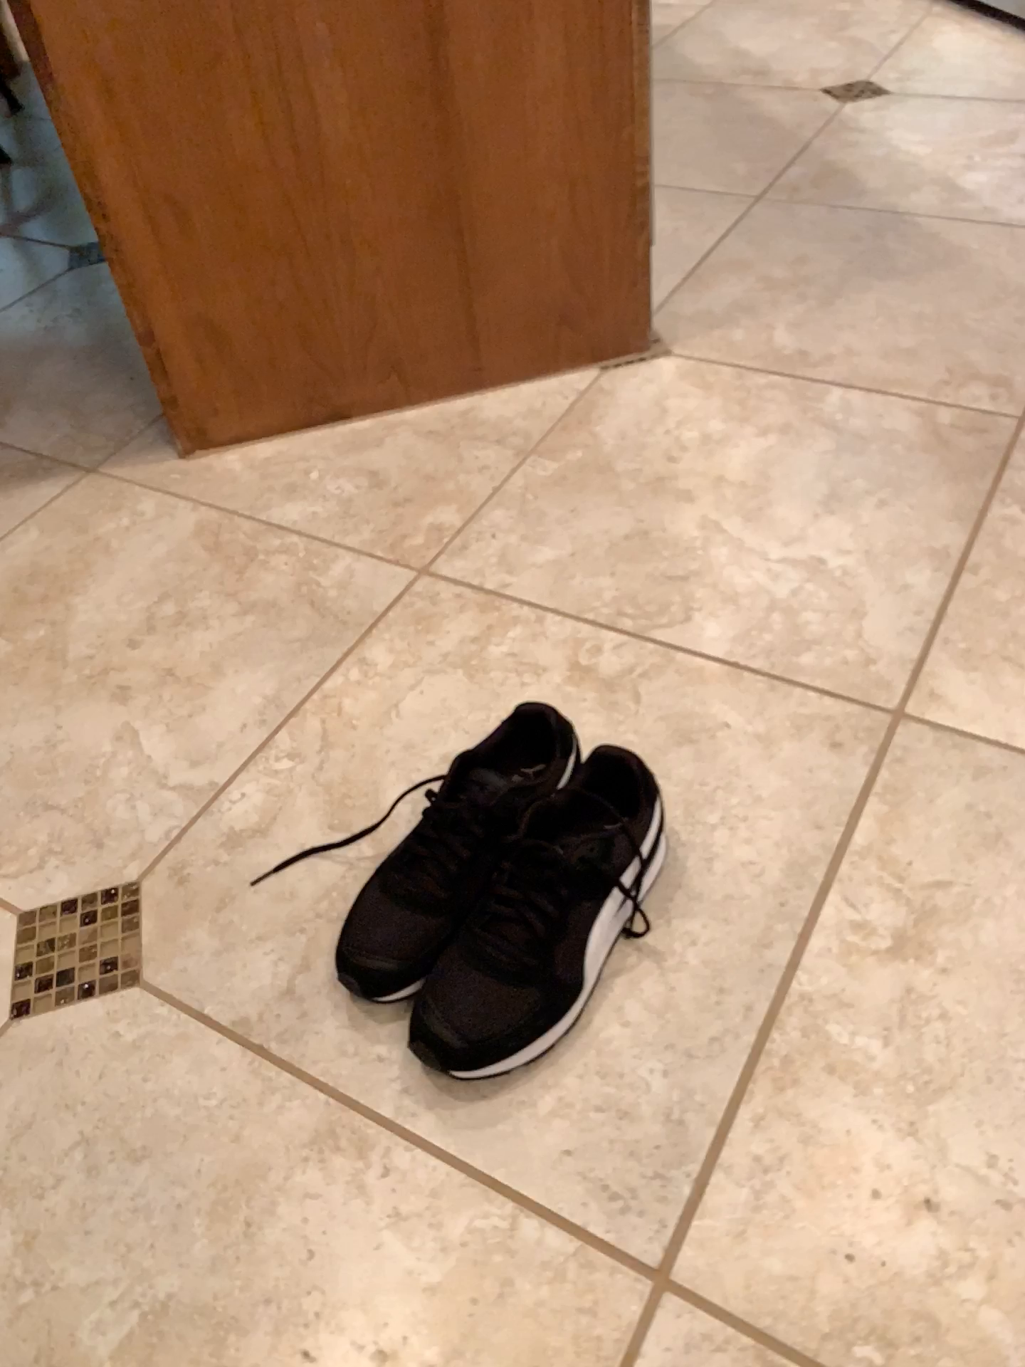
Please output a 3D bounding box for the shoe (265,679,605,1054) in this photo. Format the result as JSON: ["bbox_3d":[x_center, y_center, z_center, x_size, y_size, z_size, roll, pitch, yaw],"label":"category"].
[{"bbox_3d":[-0.048,0.132,0.828,0.109,0.095,0.269,24,54,29],"label":"shoe"}]

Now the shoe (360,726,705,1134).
[{"bbox_3d":[0.027,0.169,0.779,0.109,0.095,0.269,23,53,30],"label":"shoe"}]
